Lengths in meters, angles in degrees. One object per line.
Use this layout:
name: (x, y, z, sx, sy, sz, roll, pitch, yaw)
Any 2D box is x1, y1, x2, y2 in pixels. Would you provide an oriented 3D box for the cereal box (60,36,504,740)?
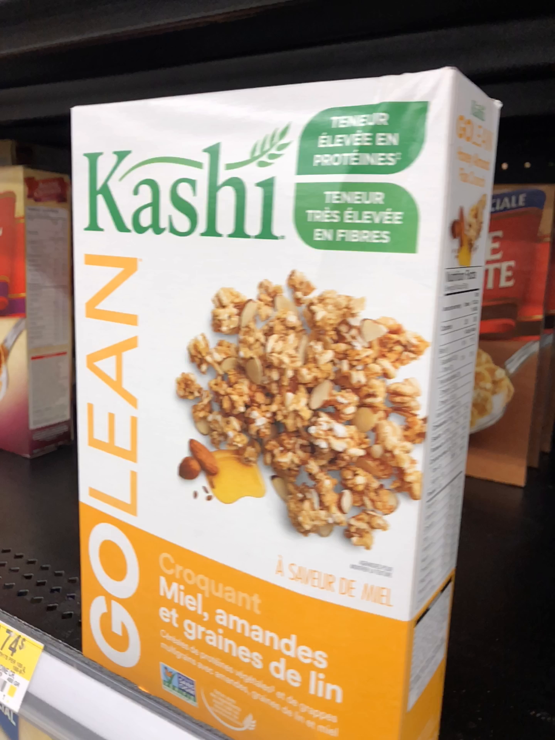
cereal box: (-0.011, 0.022, 0.265, 0.170, 0.269, 0.050, 10, 14, 32)
